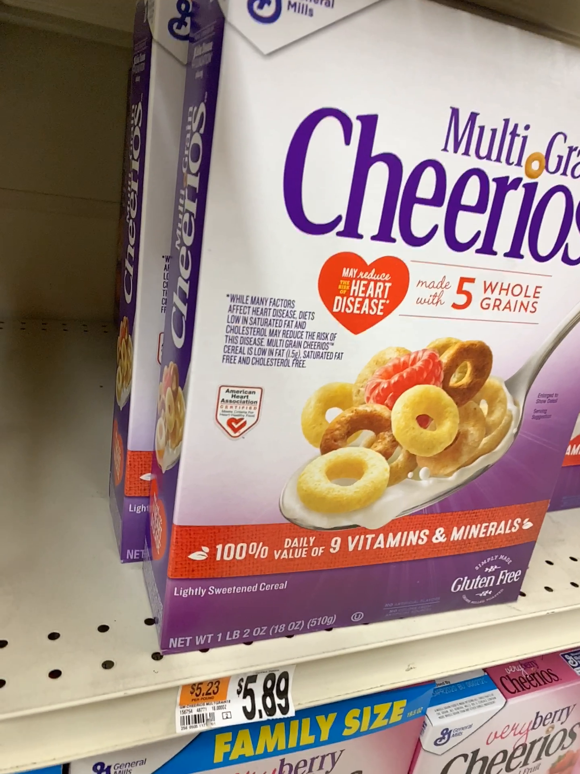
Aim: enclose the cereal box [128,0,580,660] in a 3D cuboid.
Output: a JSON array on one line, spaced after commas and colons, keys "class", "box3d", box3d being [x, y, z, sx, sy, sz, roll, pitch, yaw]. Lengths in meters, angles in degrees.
[{"class": "cereal box", "box3d": [0.053, -0.021, 0.331, 0.250, 0.319, 0.070, 1, 20, -23]}]
